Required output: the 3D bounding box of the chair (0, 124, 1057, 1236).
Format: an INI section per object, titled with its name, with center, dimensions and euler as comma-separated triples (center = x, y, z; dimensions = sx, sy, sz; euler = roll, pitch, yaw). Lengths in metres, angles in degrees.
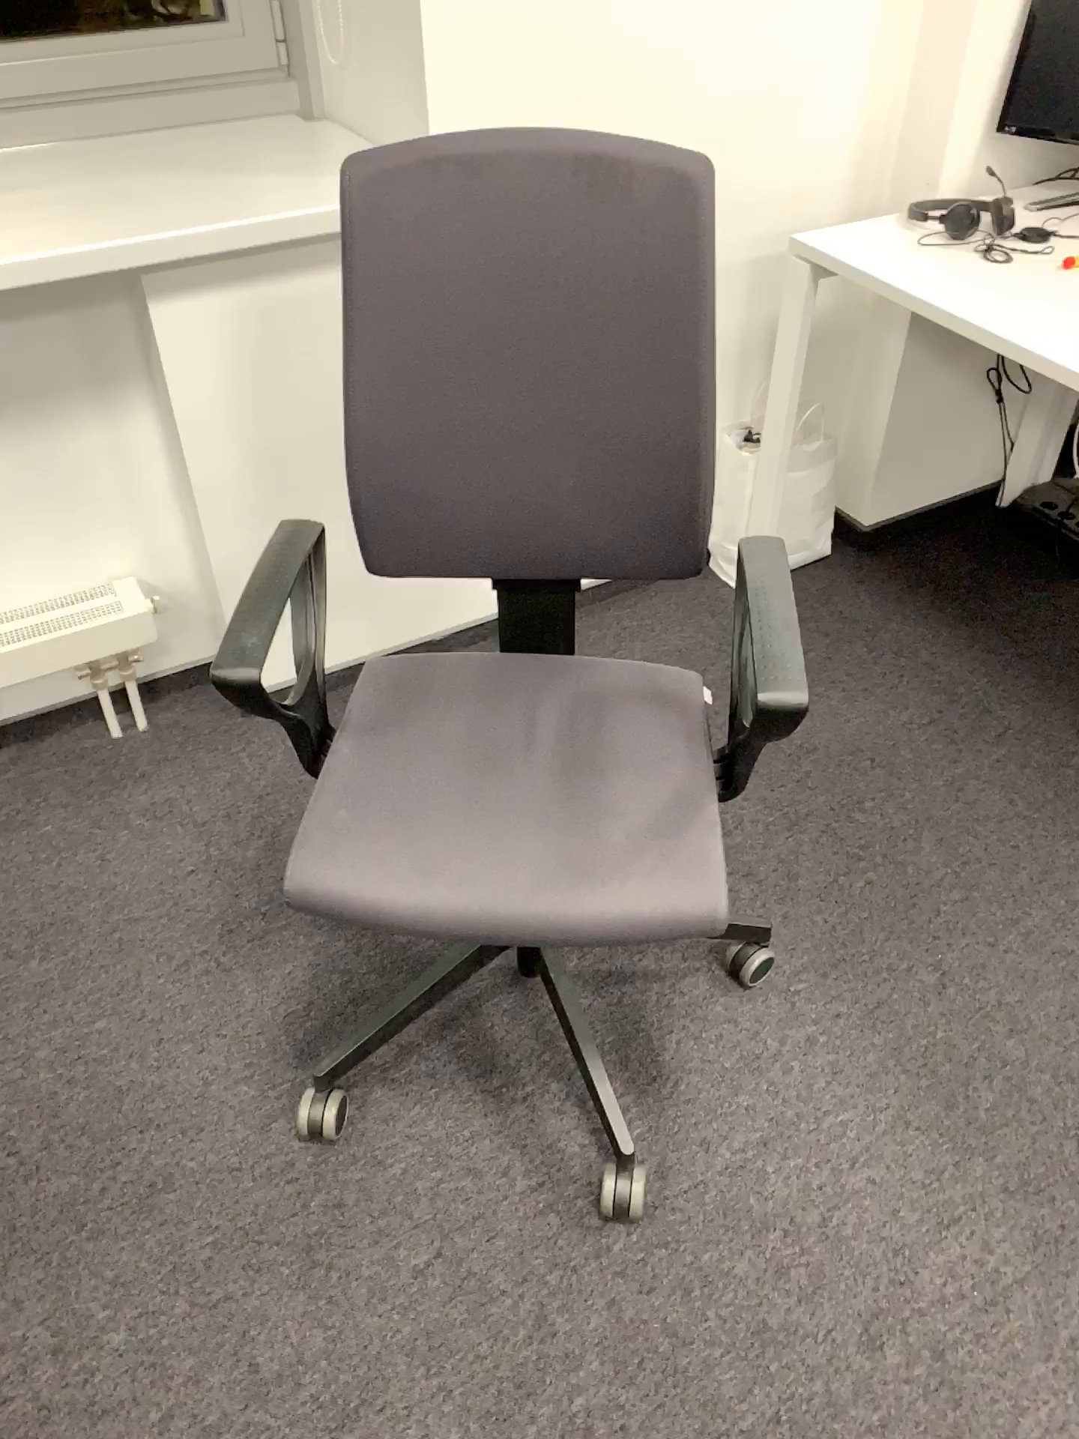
[chair]
center = -0.007, -0.030, 1.304
dimensions = 0.700, 1.044, 0.754
euler = 3, 41, 4
